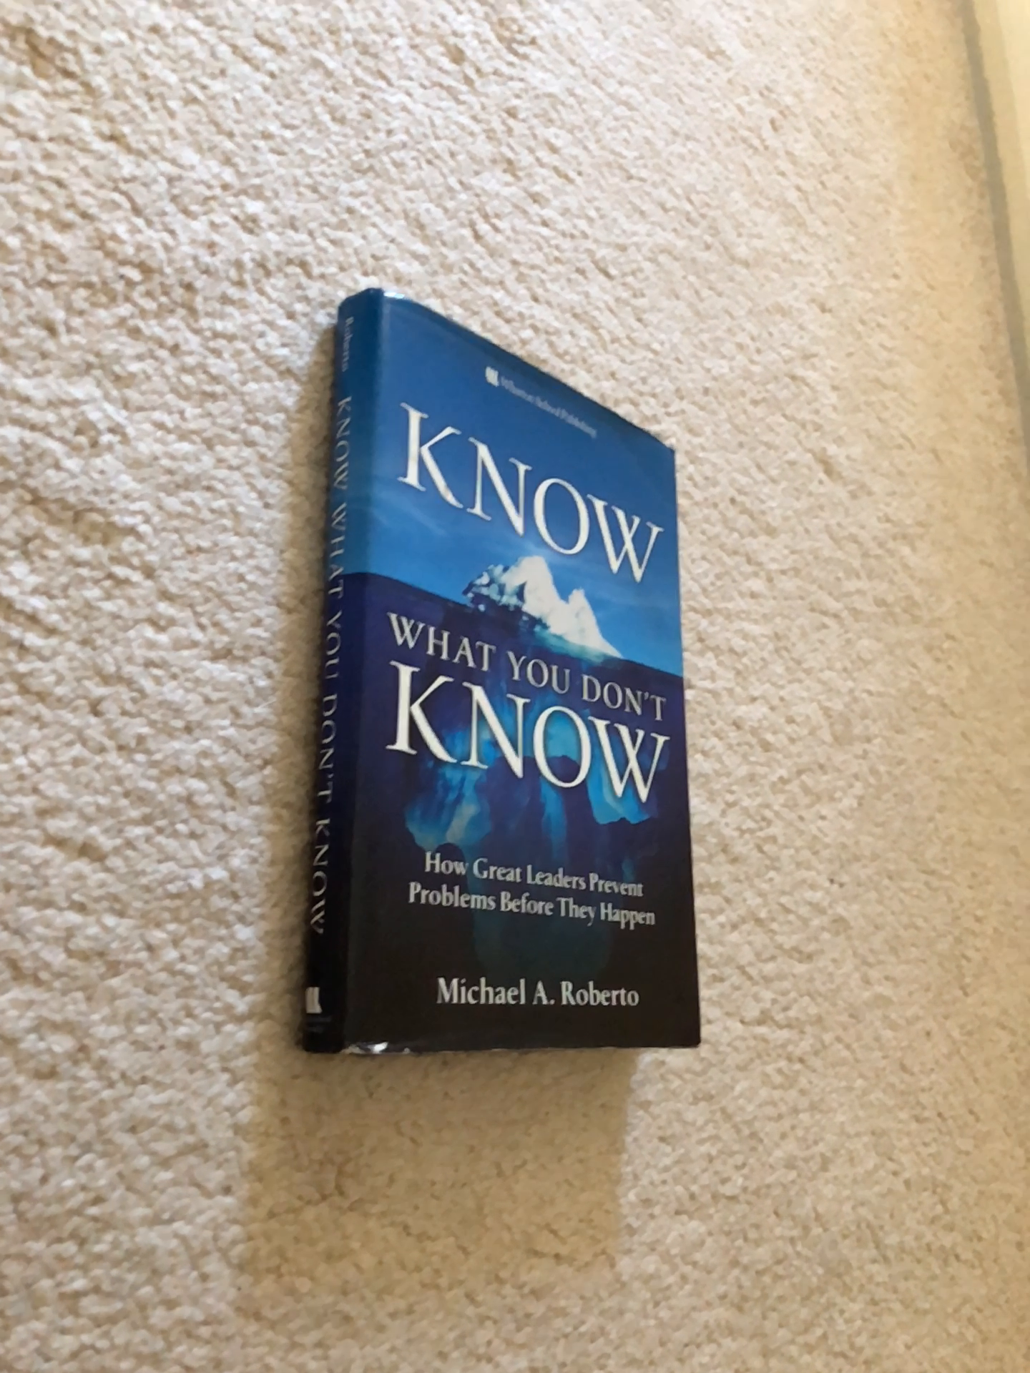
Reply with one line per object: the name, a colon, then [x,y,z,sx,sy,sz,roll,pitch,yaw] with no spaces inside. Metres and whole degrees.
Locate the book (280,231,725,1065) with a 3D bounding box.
book: [0.005,-0.004,0.380,0.161,0.034,0.240,16,68,-45]
